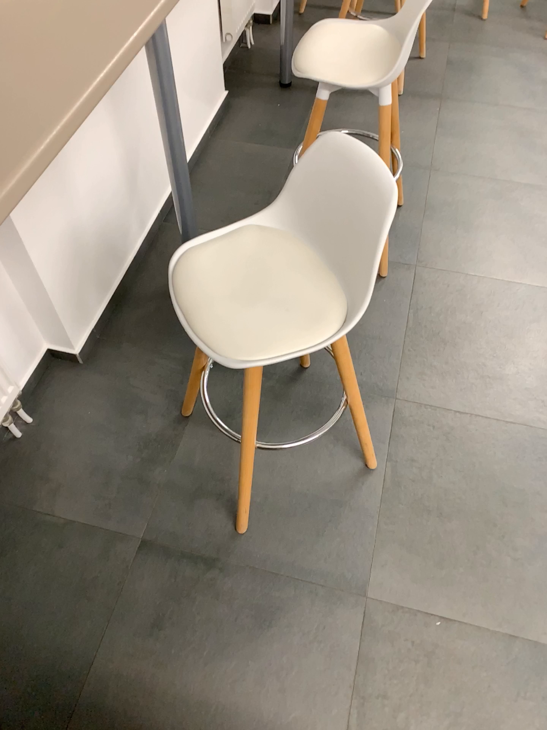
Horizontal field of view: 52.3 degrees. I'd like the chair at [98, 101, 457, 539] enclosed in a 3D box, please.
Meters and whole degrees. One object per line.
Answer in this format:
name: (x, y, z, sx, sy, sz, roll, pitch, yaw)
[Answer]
chair: (-0.011, -0.042, 1.363, 0.481, 0.887, 0.481, -22, 57, -15)
